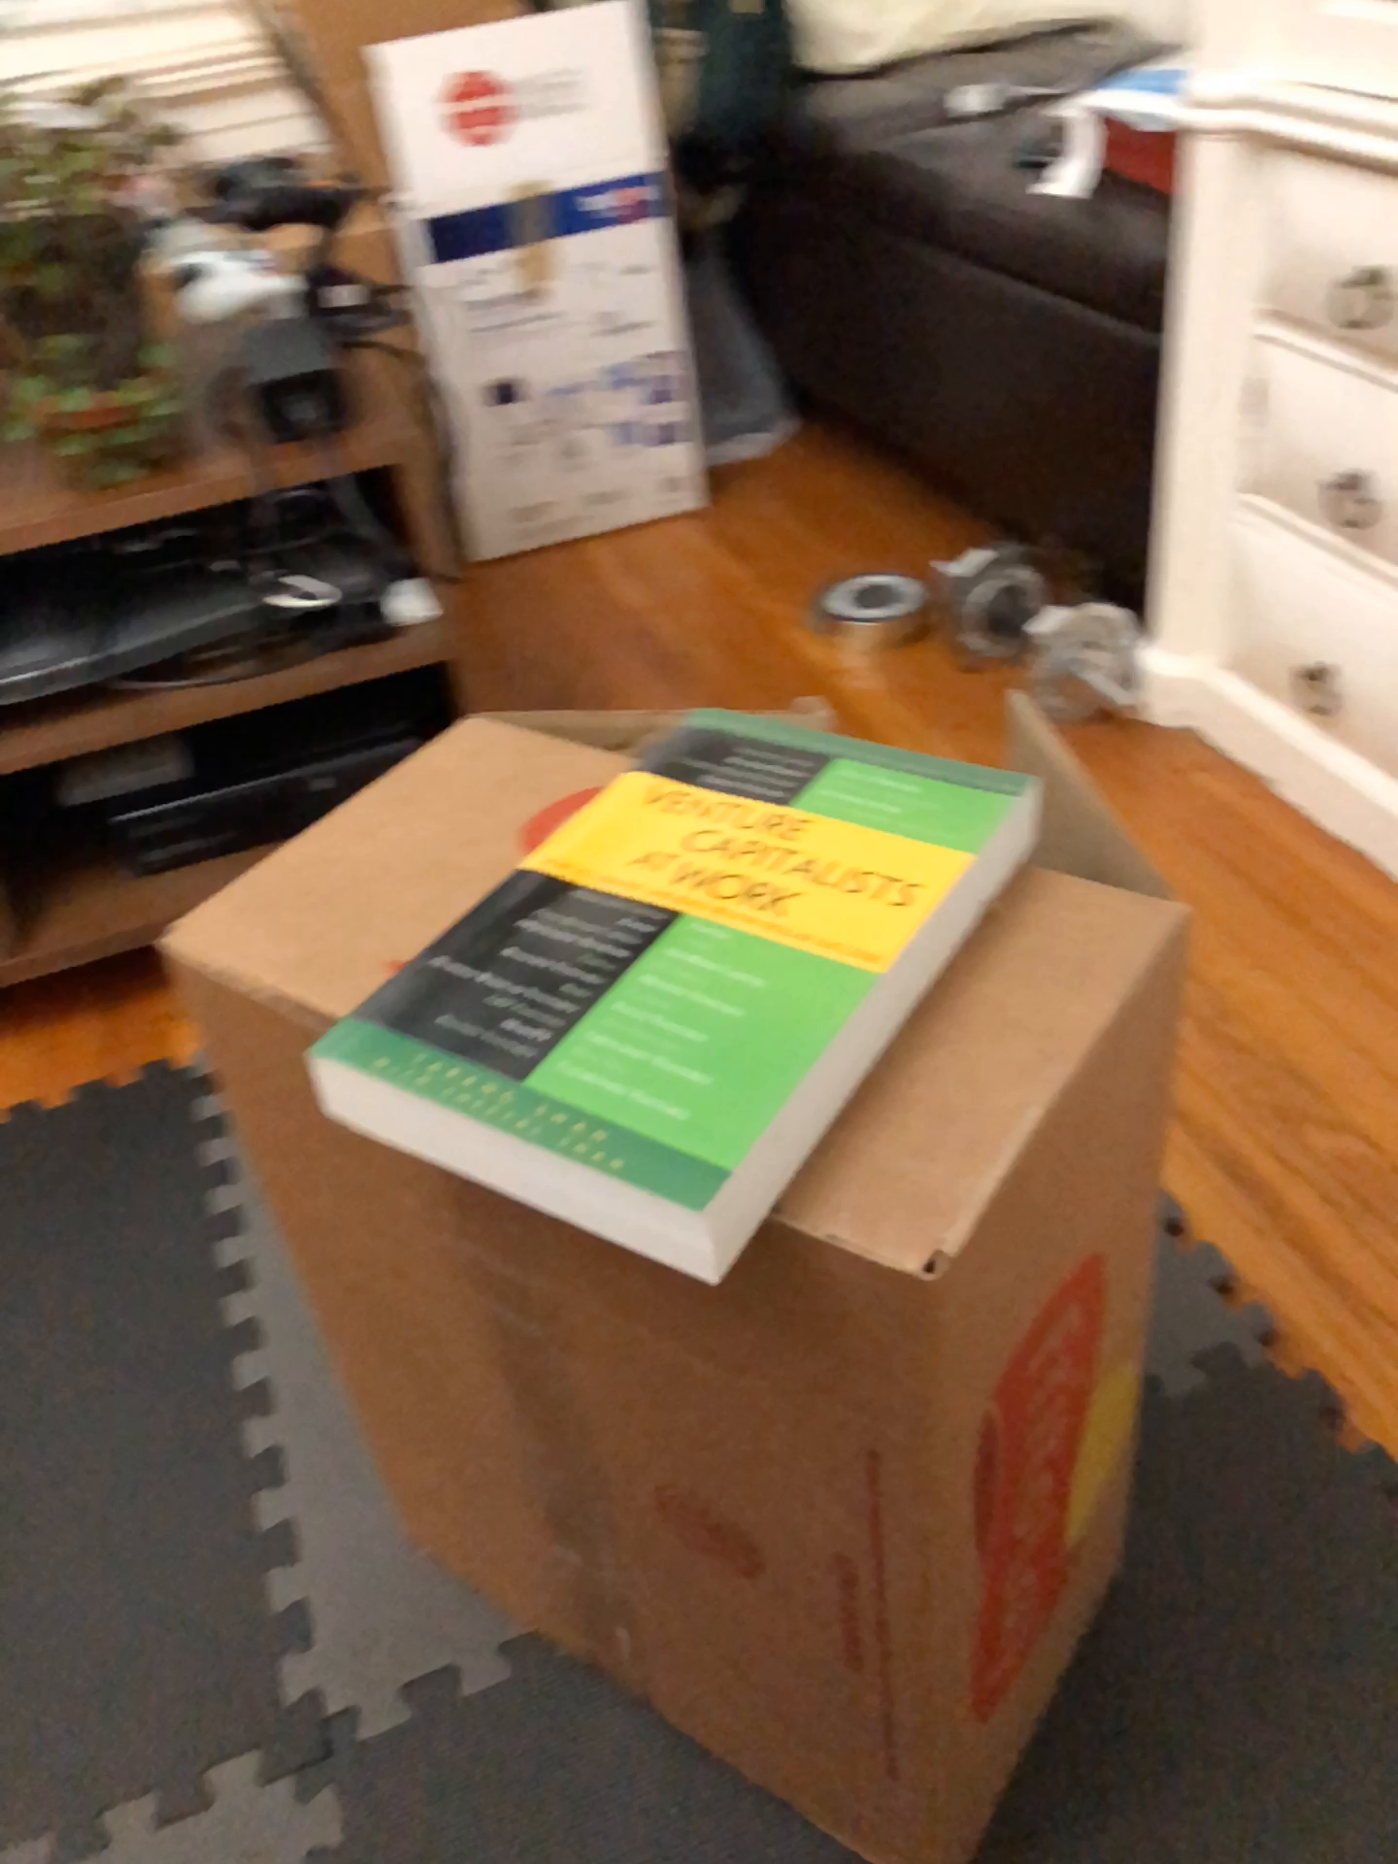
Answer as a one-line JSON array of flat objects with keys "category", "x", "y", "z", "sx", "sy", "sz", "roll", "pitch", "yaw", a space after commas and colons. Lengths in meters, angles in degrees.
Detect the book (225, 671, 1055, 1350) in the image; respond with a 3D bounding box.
[{"category": "book", "x": -0.007, "y": 0.003, "z": 0.525, "sx": 0.160, "sy": 0.040, "sz": 0.261, "roll": 17, "pitch": 45, "yaw": 30}]
